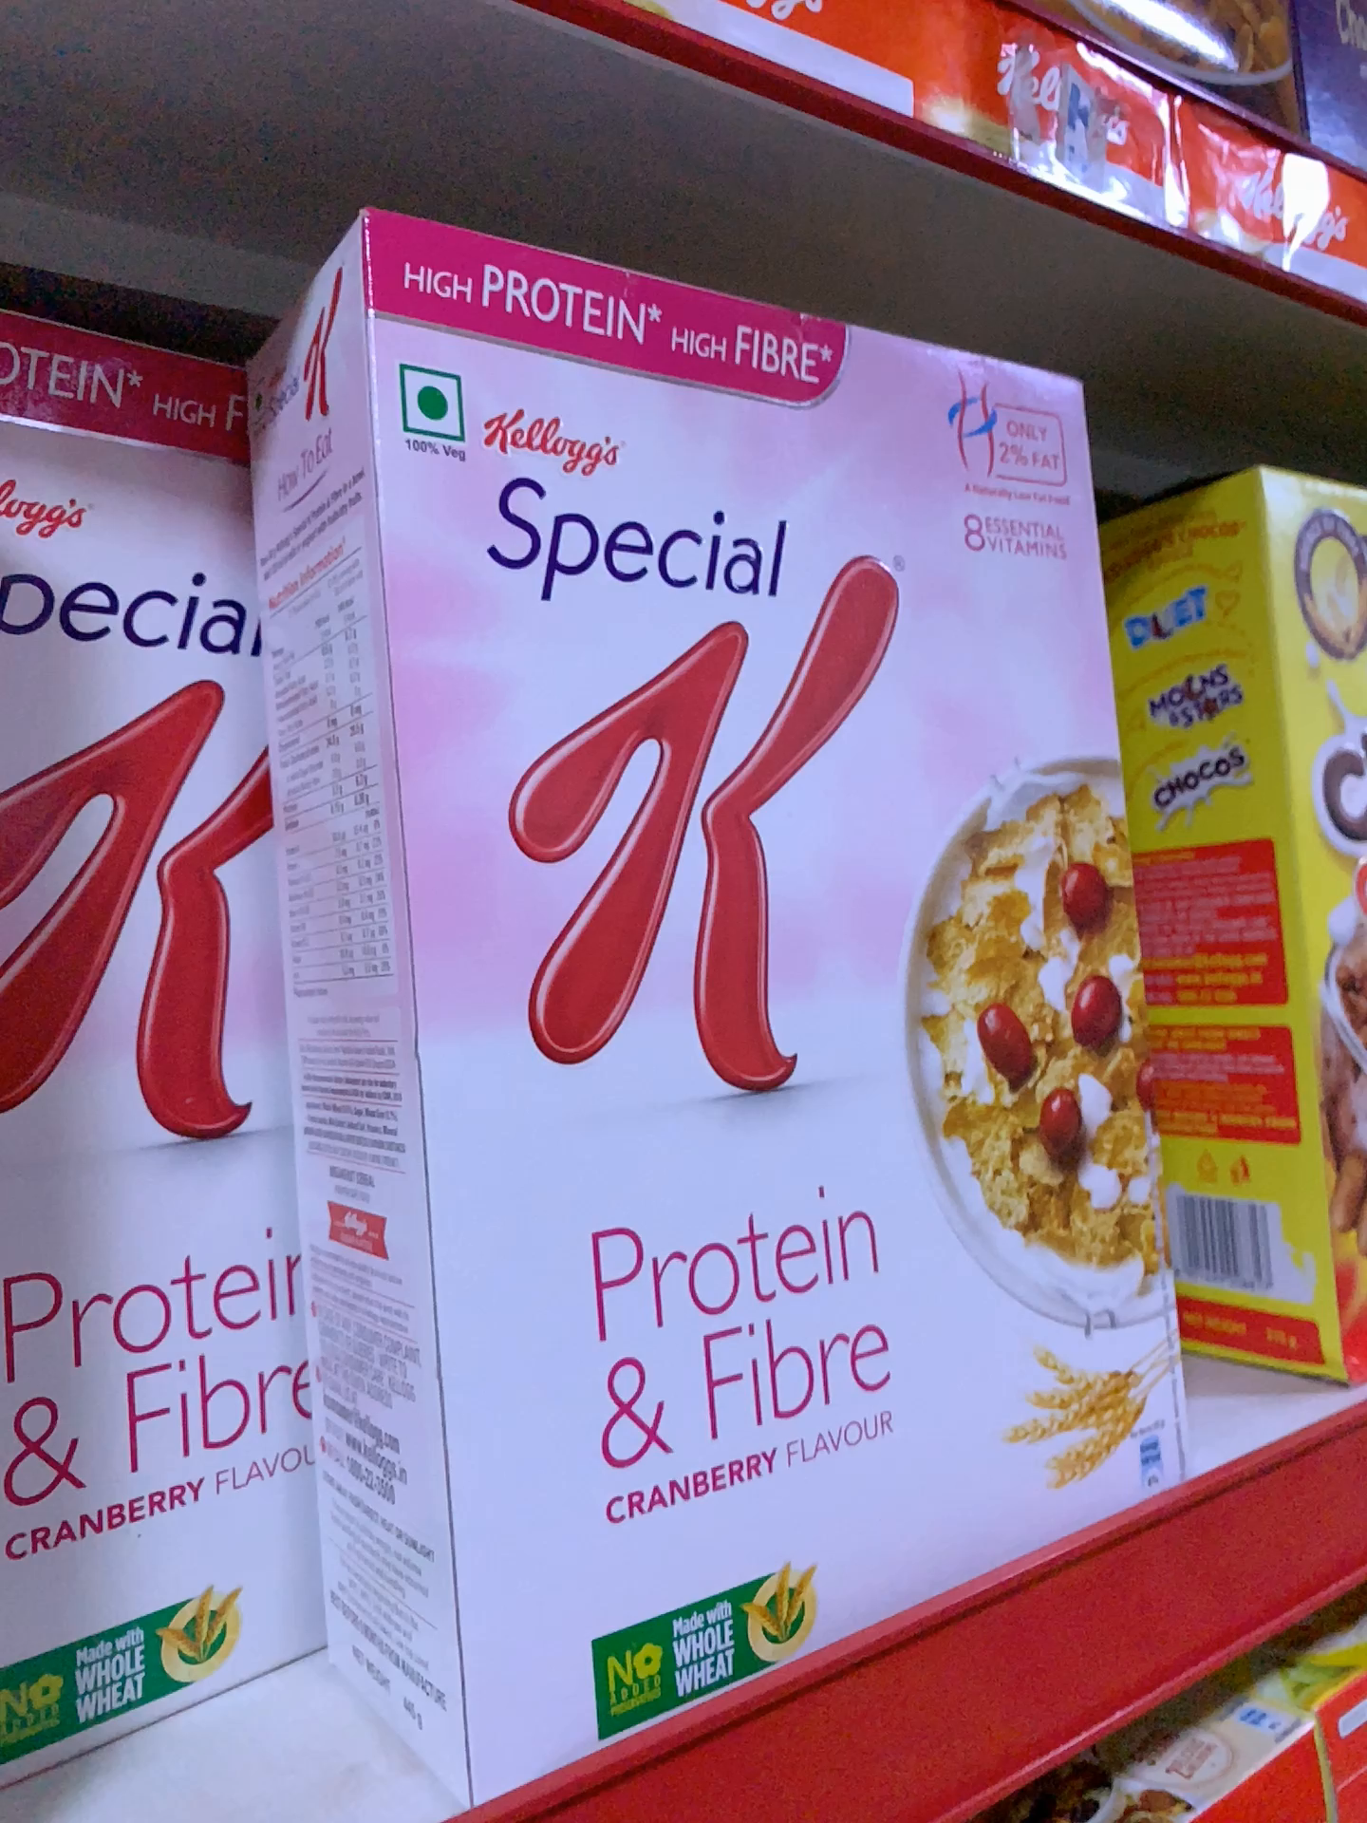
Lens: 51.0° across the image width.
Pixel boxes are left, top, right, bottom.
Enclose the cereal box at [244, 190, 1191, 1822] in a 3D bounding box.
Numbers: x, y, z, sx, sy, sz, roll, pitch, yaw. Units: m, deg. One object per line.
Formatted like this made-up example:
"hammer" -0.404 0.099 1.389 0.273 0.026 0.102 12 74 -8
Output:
"cereal box" 0.013 0.009 0.284 0.170 0.240 0.060 -2 -3 -36
